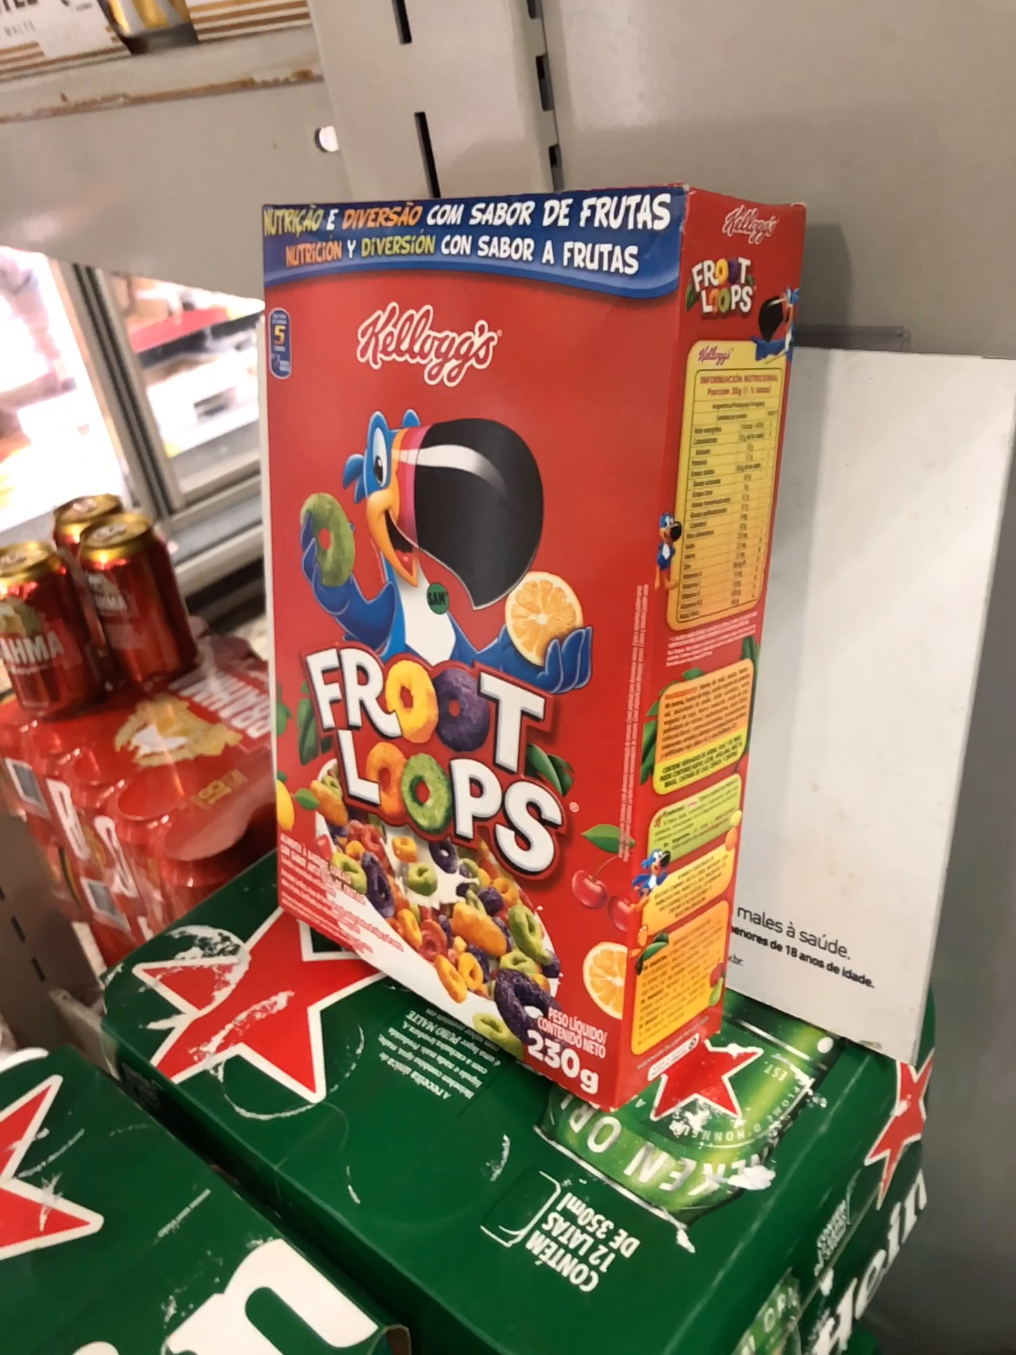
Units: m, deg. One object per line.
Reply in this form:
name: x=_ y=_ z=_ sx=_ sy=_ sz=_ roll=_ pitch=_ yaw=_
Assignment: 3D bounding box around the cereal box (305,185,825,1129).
cereal box: x=0.005 y=-0.014 z=0.368 sx=0.151 sy=0.259 sz=0.060 roll=18 pitch=22 yaw=41
